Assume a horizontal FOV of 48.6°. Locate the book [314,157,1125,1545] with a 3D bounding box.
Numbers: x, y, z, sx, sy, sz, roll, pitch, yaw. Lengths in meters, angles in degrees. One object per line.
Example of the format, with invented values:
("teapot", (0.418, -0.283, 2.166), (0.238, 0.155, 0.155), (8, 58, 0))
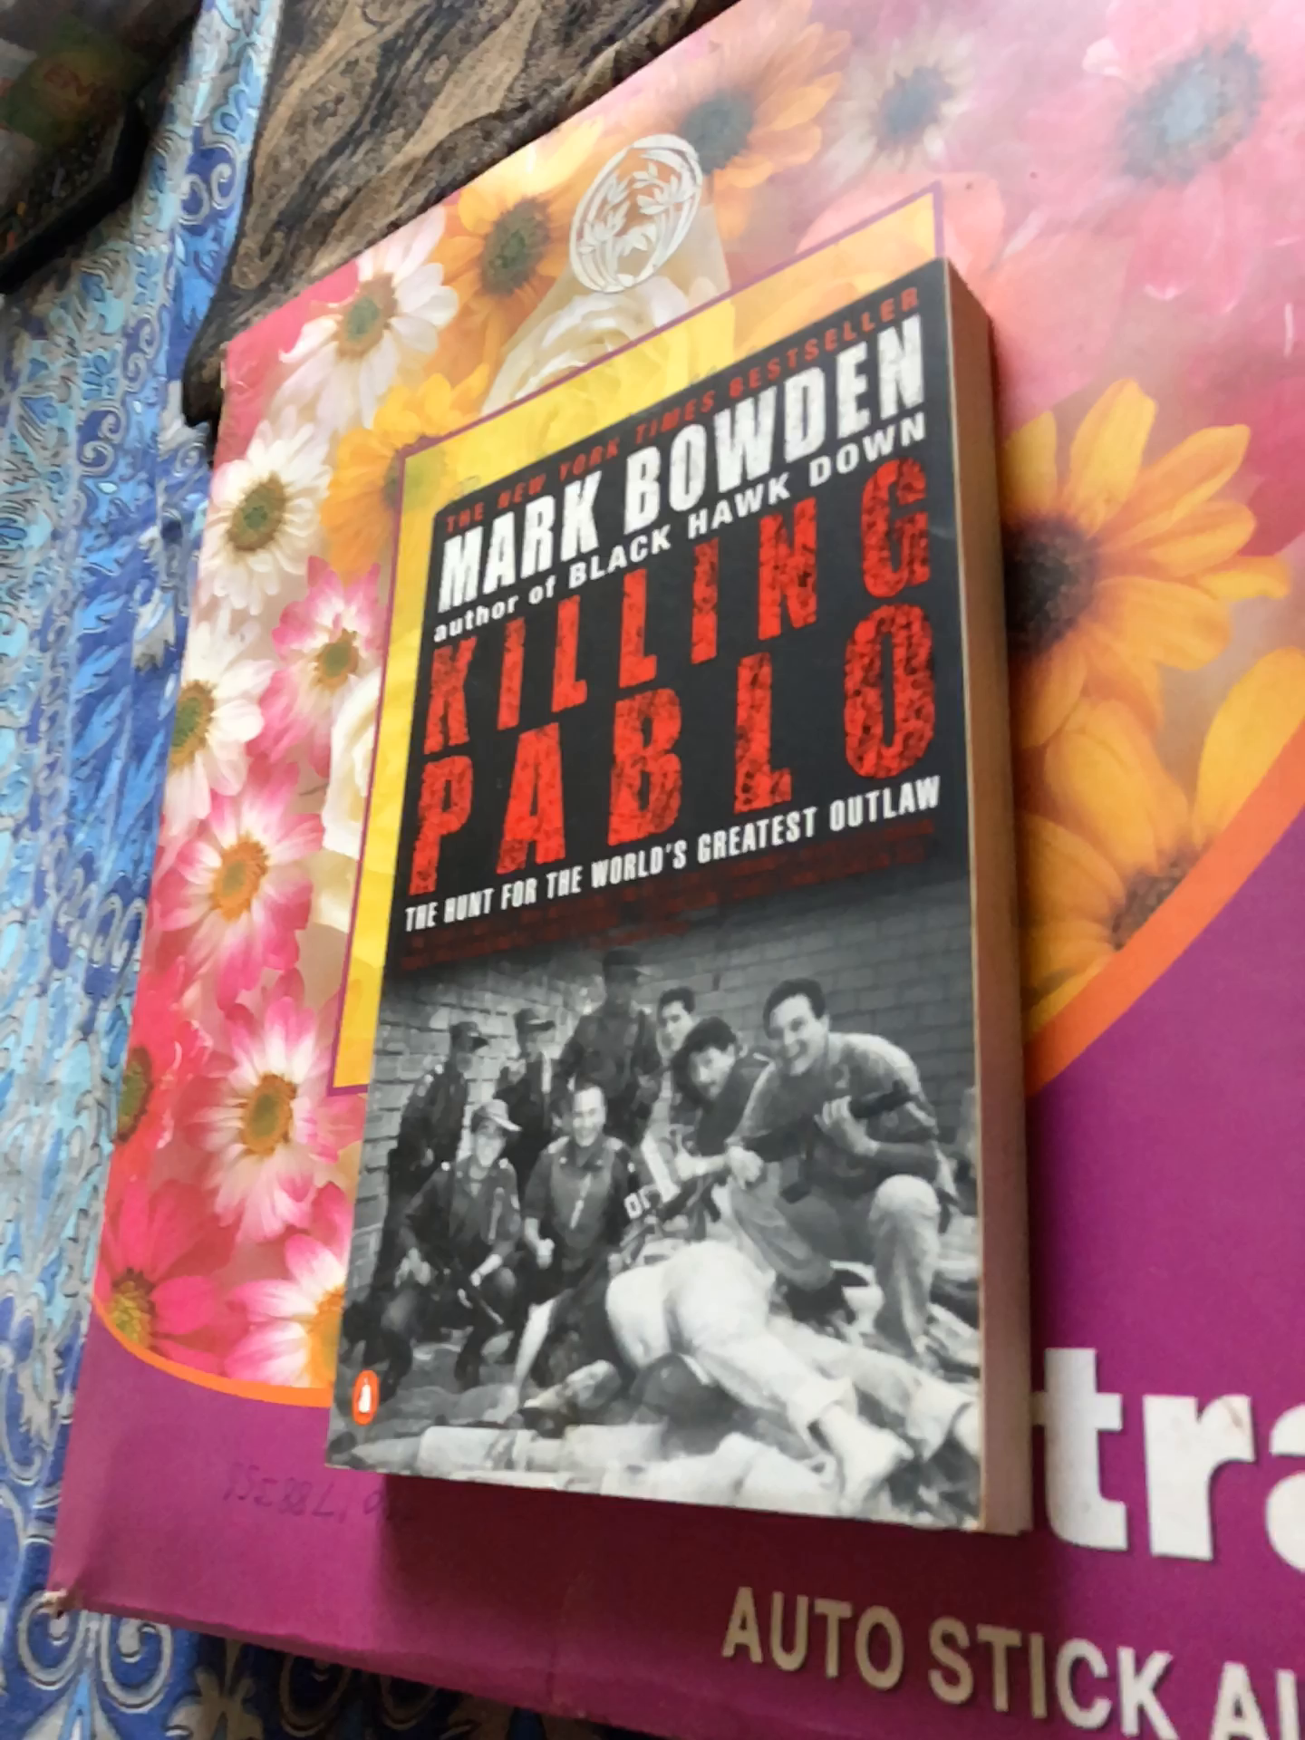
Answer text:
("book", (0.008, -0.003, 0.281), (0.151, 0.030, 0.230), (-16, 60, 41))
